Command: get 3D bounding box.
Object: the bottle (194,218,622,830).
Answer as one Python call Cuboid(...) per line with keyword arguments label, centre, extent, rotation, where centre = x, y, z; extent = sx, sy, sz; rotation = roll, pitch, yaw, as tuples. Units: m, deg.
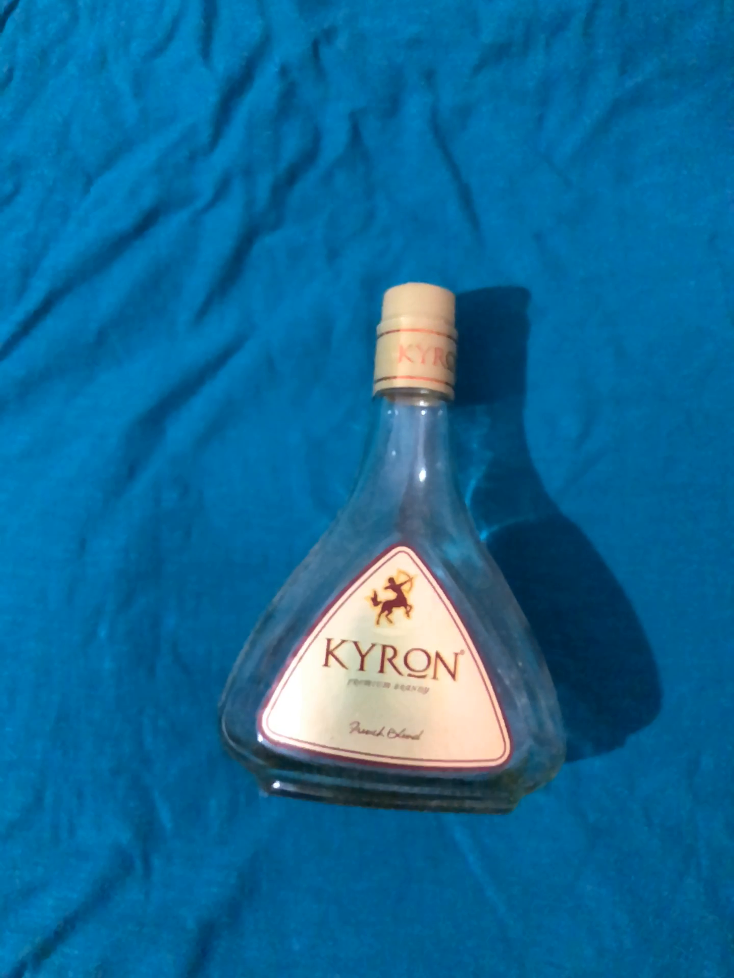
Cuboid(label="bottle", centre=(0.015, 0.010, 0.282), extent=(0.120, 0.060, 0.180), rotation=(4, 85, 1))
